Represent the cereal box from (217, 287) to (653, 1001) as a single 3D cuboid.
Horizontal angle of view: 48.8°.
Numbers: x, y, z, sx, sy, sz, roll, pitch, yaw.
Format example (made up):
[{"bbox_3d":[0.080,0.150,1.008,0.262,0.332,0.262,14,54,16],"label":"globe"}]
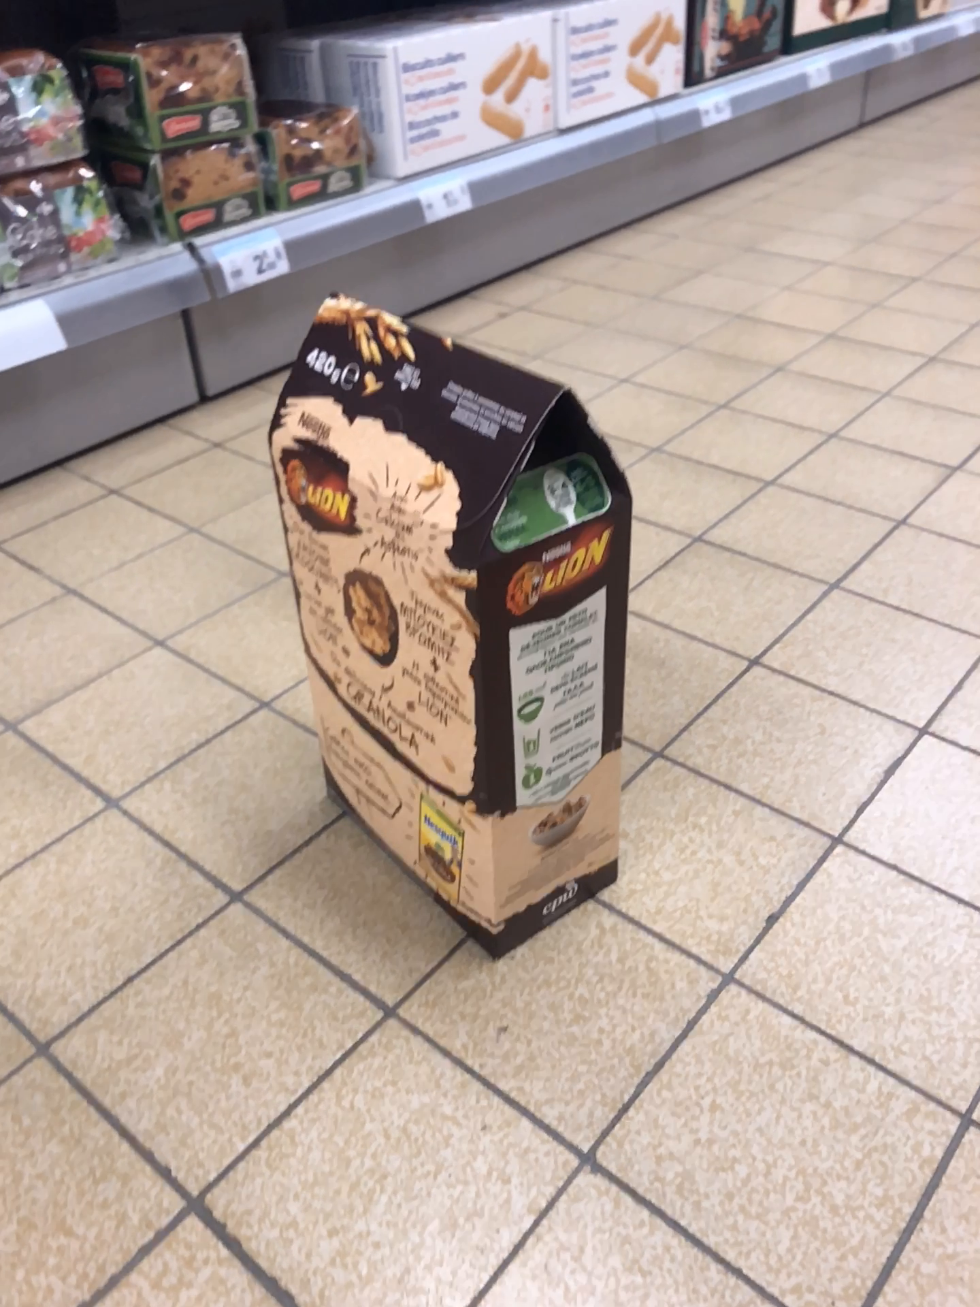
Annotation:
[{"bbox_3d":[-0.020,-0.003,0.452,0.080,0.248,0.150,-27,42,-30],"label":"cereal box"}]
